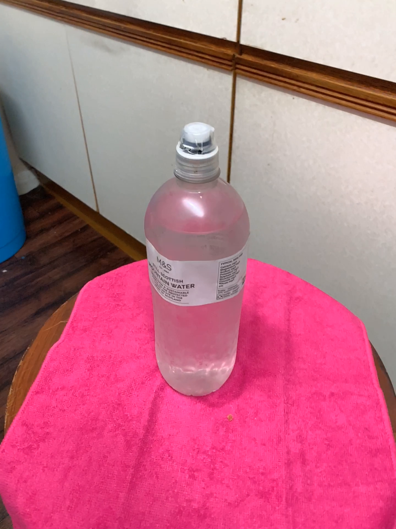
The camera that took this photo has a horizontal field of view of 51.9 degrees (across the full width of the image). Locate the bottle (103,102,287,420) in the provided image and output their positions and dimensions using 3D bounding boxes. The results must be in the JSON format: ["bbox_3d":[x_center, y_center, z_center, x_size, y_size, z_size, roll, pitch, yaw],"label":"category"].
[{"bbox_3d":[-0.001,0.013,0.346,0.090,0.257,0.081,21,45,22],"label":"bottle"}]
